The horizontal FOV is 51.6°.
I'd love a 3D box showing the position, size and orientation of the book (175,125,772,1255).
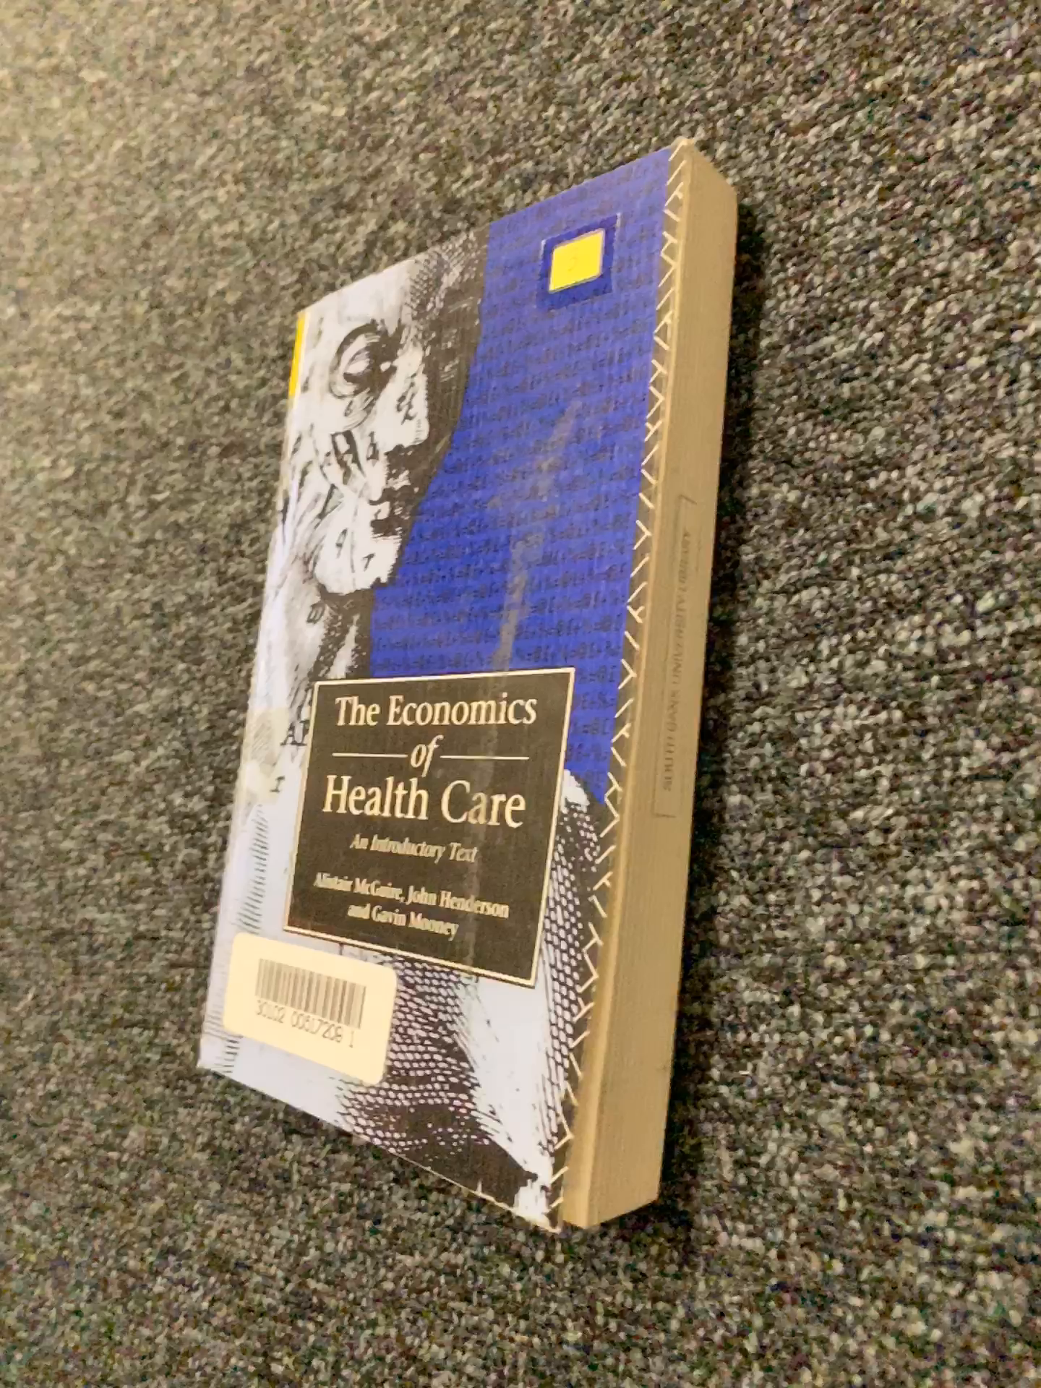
[{"bbox_3d":[-0.017,-0.005,0.252,0.136,0.030,0.207,-1,79,44],"label":"book"}]
